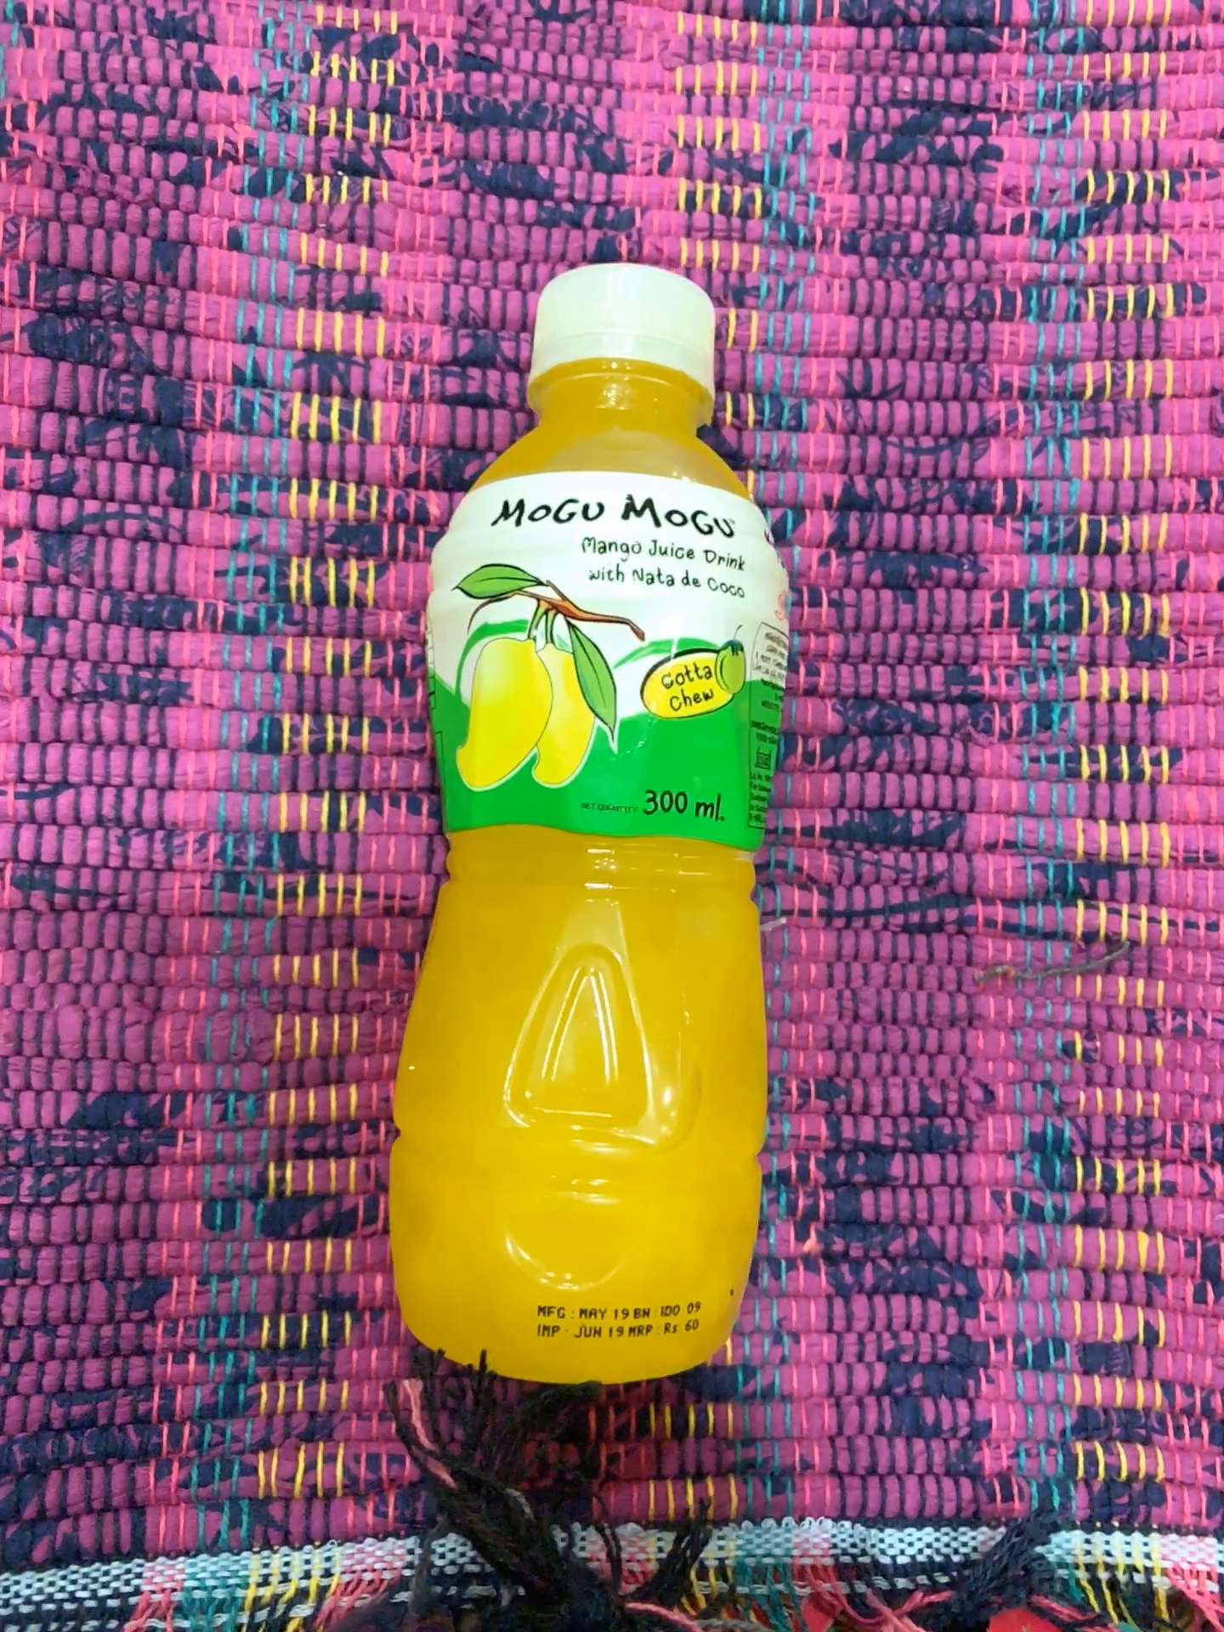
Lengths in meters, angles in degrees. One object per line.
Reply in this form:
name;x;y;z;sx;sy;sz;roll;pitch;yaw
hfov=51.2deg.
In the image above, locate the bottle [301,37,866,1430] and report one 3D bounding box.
bottle;-0.006;-0.009;0.180;0.060;0.060;0.160;4;85;-11
